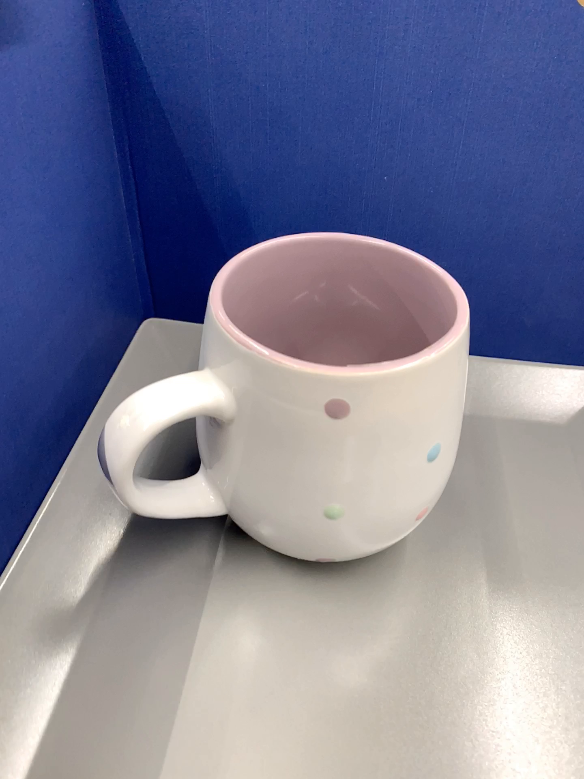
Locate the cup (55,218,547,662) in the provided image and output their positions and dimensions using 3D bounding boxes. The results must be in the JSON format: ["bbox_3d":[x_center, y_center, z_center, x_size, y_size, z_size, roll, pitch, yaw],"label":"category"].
[{"bbox_3d":[-0.001,0.007,0.225,0.130,0.088,0.097,-18,42,-23],"label":"cup"}]
